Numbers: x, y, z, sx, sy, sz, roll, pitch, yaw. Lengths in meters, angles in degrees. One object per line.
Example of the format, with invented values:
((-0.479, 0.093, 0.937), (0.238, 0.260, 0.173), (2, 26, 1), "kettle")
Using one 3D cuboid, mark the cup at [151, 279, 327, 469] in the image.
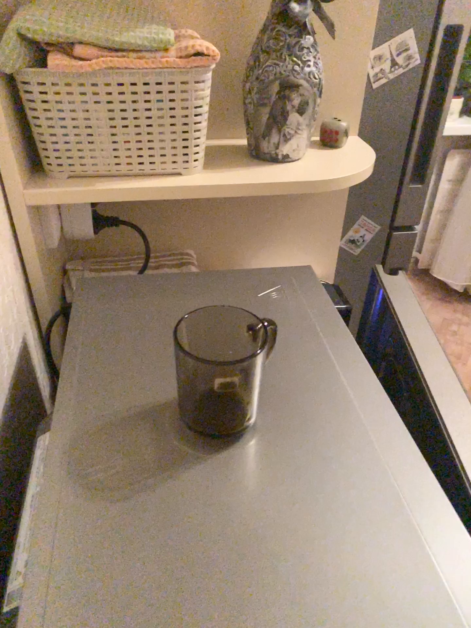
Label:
((0.004, 0.041, 0.383), (0.080, 0.079, 0.111), (28, 43, 31), "cup")
